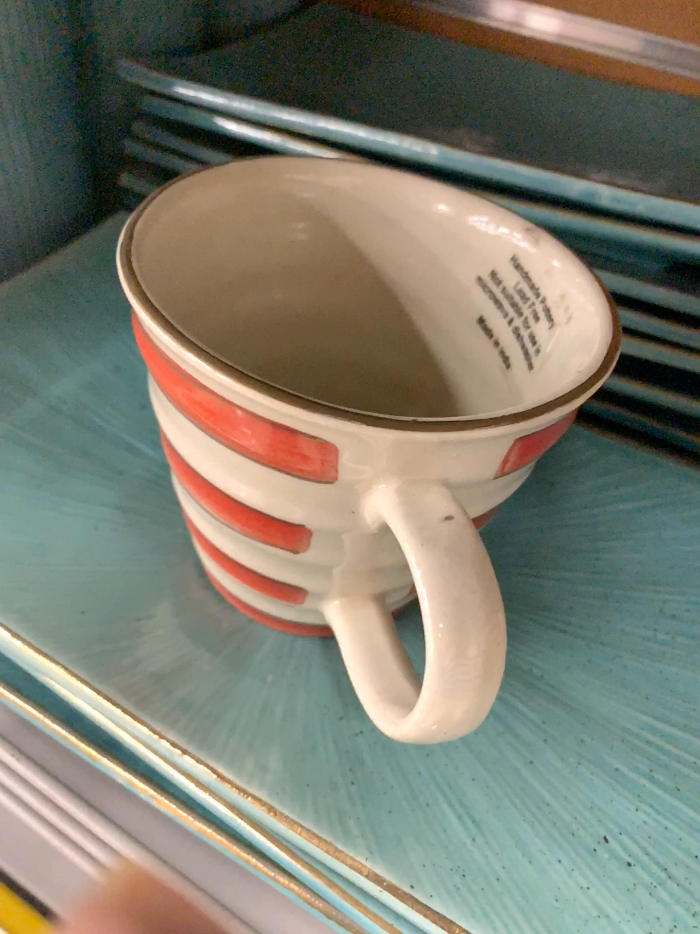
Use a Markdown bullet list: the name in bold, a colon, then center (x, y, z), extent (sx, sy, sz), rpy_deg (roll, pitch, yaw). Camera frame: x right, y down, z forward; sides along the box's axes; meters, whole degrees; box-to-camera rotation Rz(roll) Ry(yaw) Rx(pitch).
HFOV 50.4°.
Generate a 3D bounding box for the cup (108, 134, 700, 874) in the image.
- **cup**: center (0.001, -0.002, 0.171), extent (0.100, 0.090, 0.130), rpy_deg (-4, 45, -16)
